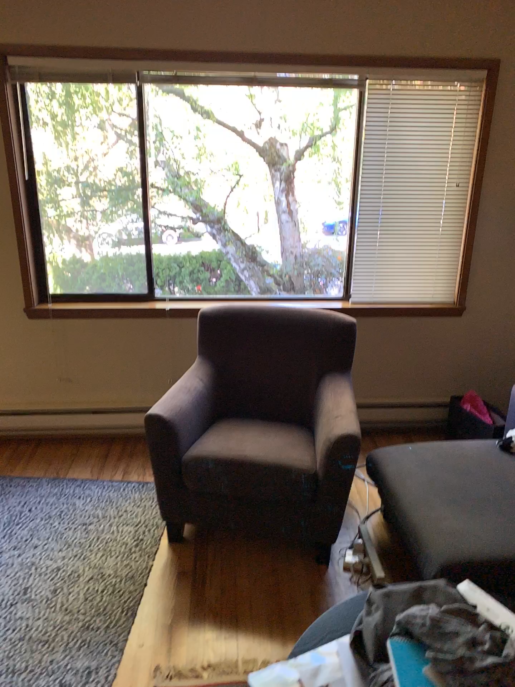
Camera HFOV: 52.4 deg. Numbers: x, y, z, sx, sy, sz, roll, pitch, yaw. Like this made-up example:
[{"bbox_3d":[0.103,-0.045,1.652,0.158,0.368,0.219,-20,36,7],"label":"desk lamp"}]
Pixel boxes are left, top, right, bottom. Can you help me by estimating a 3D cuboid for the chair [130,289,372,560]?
[{"bbox_3d":[0.017,0.281,2.365,0.880,0.877,0.803,4,16,9],"label":"chair"}]
